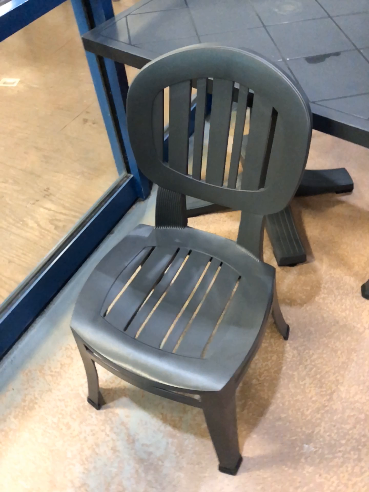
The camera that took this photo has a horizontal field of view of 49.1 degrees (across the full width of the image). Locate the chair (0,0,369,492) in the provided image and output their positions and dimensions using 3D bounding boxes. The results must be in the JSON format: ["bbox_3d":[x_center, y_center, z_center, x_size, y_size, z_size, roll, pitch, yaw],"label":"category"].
[{"bbox_3d":[0.000,0.048,0.803,0.501,0.736,0.552,19,57,18],"label":"chair"}]
